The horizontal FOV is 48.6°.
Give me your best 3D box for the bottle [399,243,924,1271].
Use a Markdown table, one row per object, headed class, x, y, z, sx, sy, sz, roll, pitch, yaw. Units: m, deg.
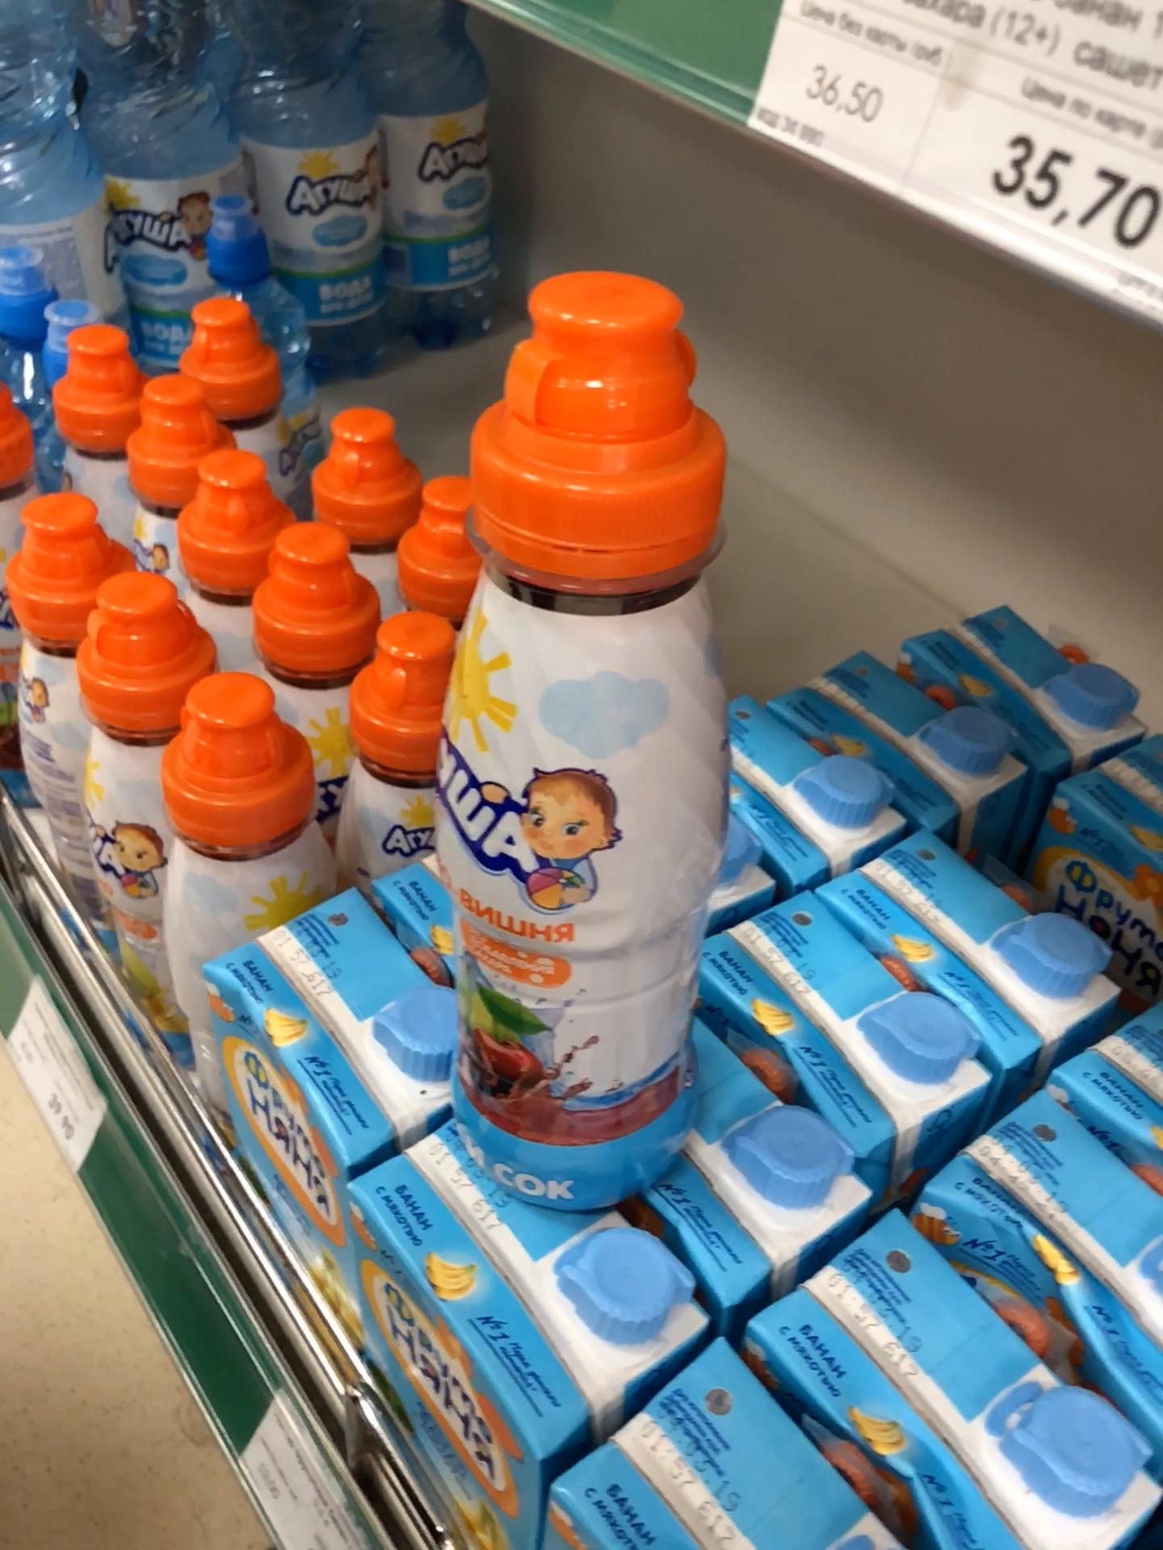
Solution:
| class | x | y | z | sx | sy | sz | roll | pitch | yaw |
| --- | --- | --- | --- | --- | --- | --- | --- | --- | --- |
| bottle | 0.005 | 0.007 | 0.249 | 0.056 | 0.190 | 0.054 | 3 | 38 | -2 |
